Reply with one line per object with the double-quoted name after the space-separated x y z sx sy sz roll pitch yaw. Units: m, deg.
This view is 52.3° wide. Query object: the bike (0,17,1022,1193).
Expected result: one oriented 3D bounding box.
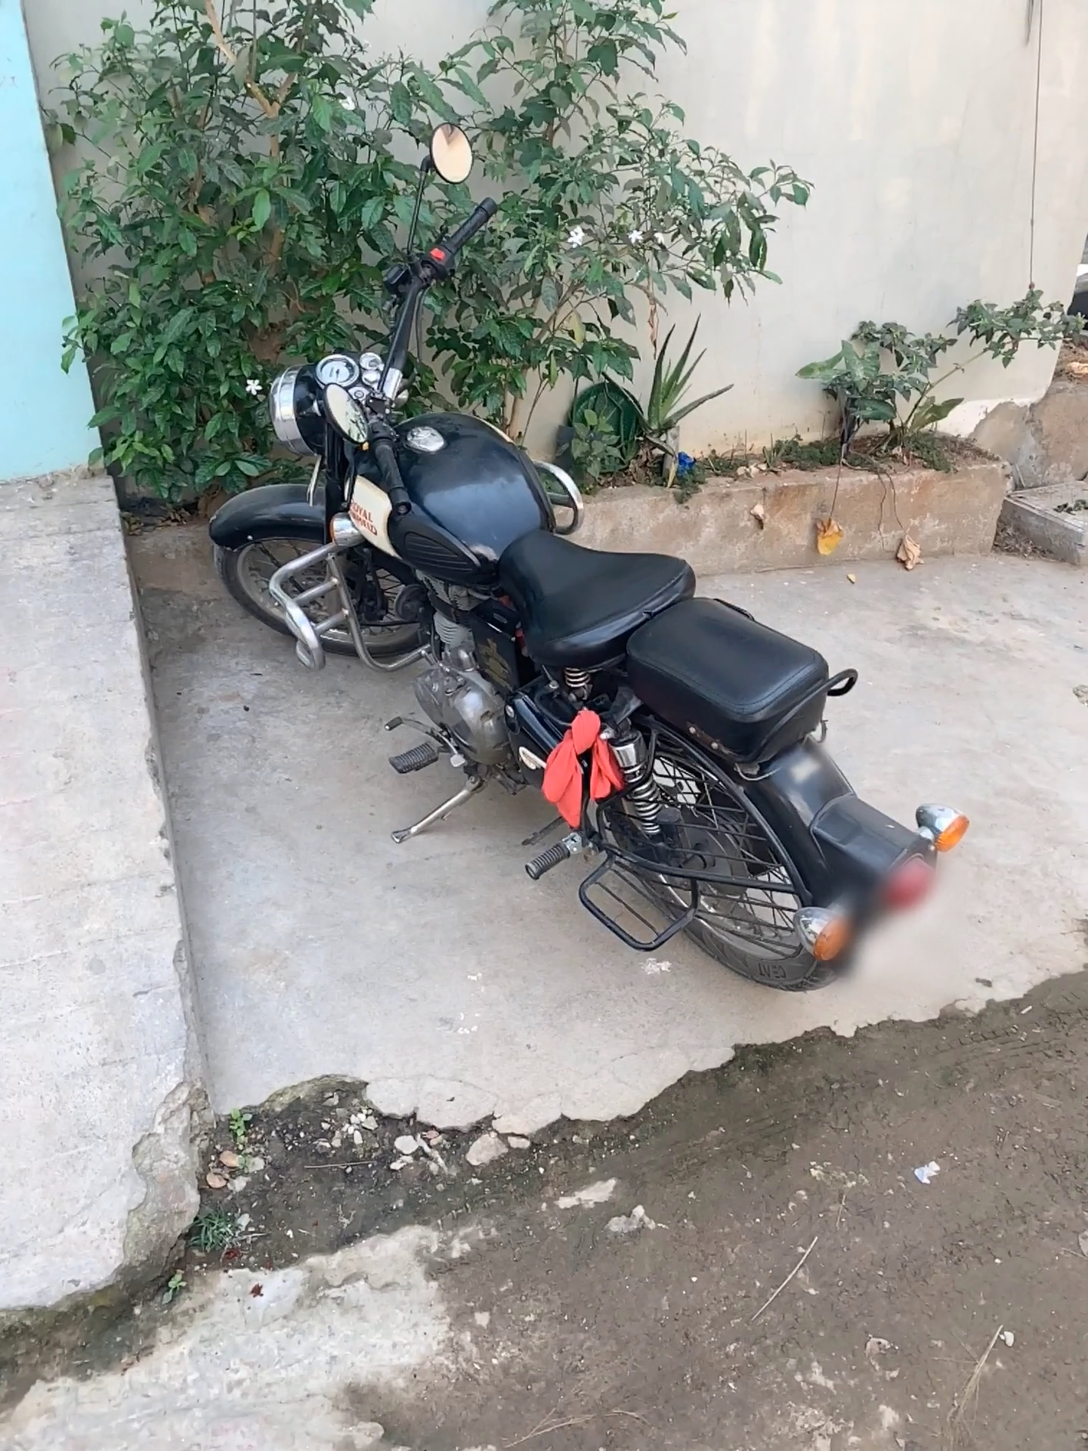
-0.241 -0.377 2.127 1.791 1.339 0.747 29 40 30 "bike"
